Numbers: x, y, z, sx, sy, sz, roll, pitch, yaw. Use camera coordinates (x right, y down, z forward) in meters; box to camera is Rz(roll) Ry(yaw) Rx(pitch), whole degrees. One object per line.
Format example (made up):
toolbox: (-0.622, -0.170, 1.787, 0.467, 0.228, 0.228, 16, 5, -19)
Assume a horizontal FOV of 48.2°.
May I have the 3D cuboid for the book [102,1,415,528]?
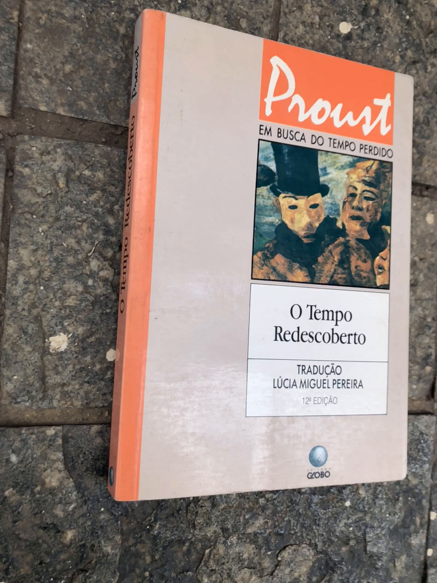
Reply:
book: (0.023, -0.008, 0.217, 0.134, 0.023, 0.199, 4, 87, -20)
